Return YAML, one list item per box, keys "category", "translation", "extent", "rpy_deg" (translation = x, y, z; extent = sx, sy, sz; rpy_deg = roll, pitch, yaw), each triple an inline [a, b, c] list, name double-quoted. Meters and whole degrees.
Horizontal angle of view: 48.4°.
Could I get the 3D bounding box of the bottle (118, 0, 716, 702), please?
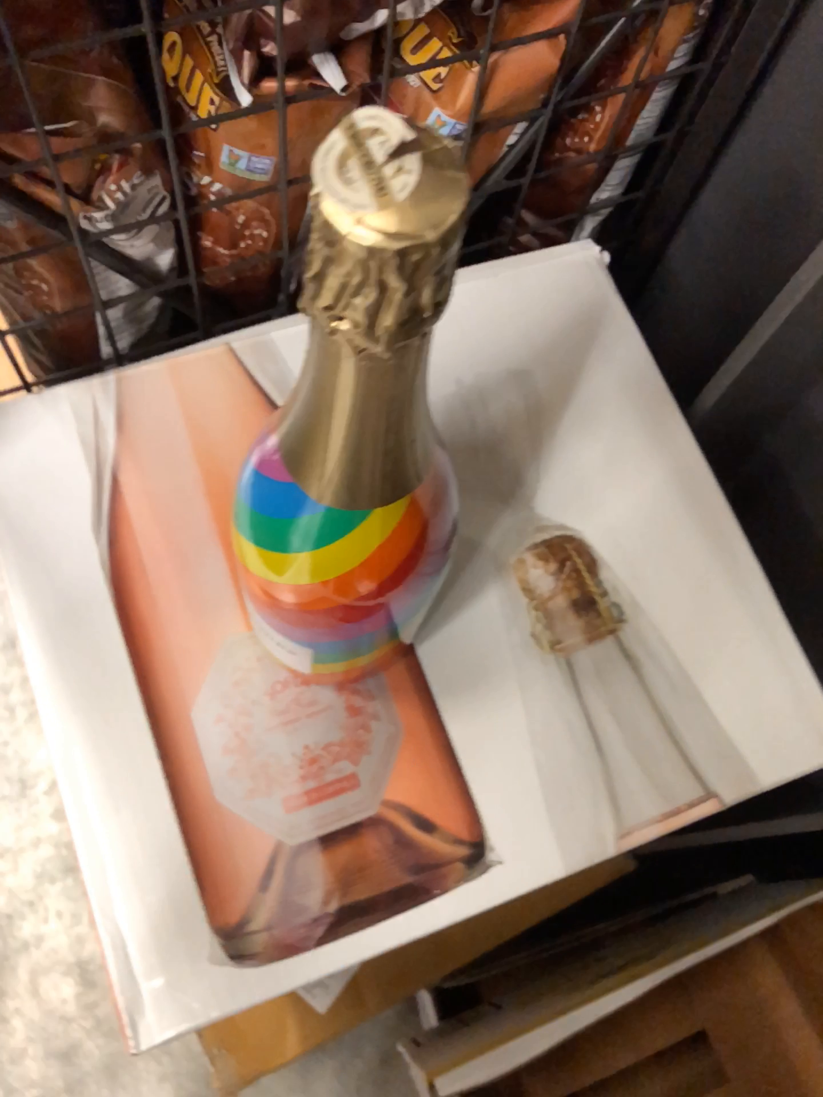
- category: "bottle"
  translation: [-0.018, -0.033, 0.318]
  extent: [0.088, 0.320, 0.088]
  rpy_deg: [2, 69, -6]
